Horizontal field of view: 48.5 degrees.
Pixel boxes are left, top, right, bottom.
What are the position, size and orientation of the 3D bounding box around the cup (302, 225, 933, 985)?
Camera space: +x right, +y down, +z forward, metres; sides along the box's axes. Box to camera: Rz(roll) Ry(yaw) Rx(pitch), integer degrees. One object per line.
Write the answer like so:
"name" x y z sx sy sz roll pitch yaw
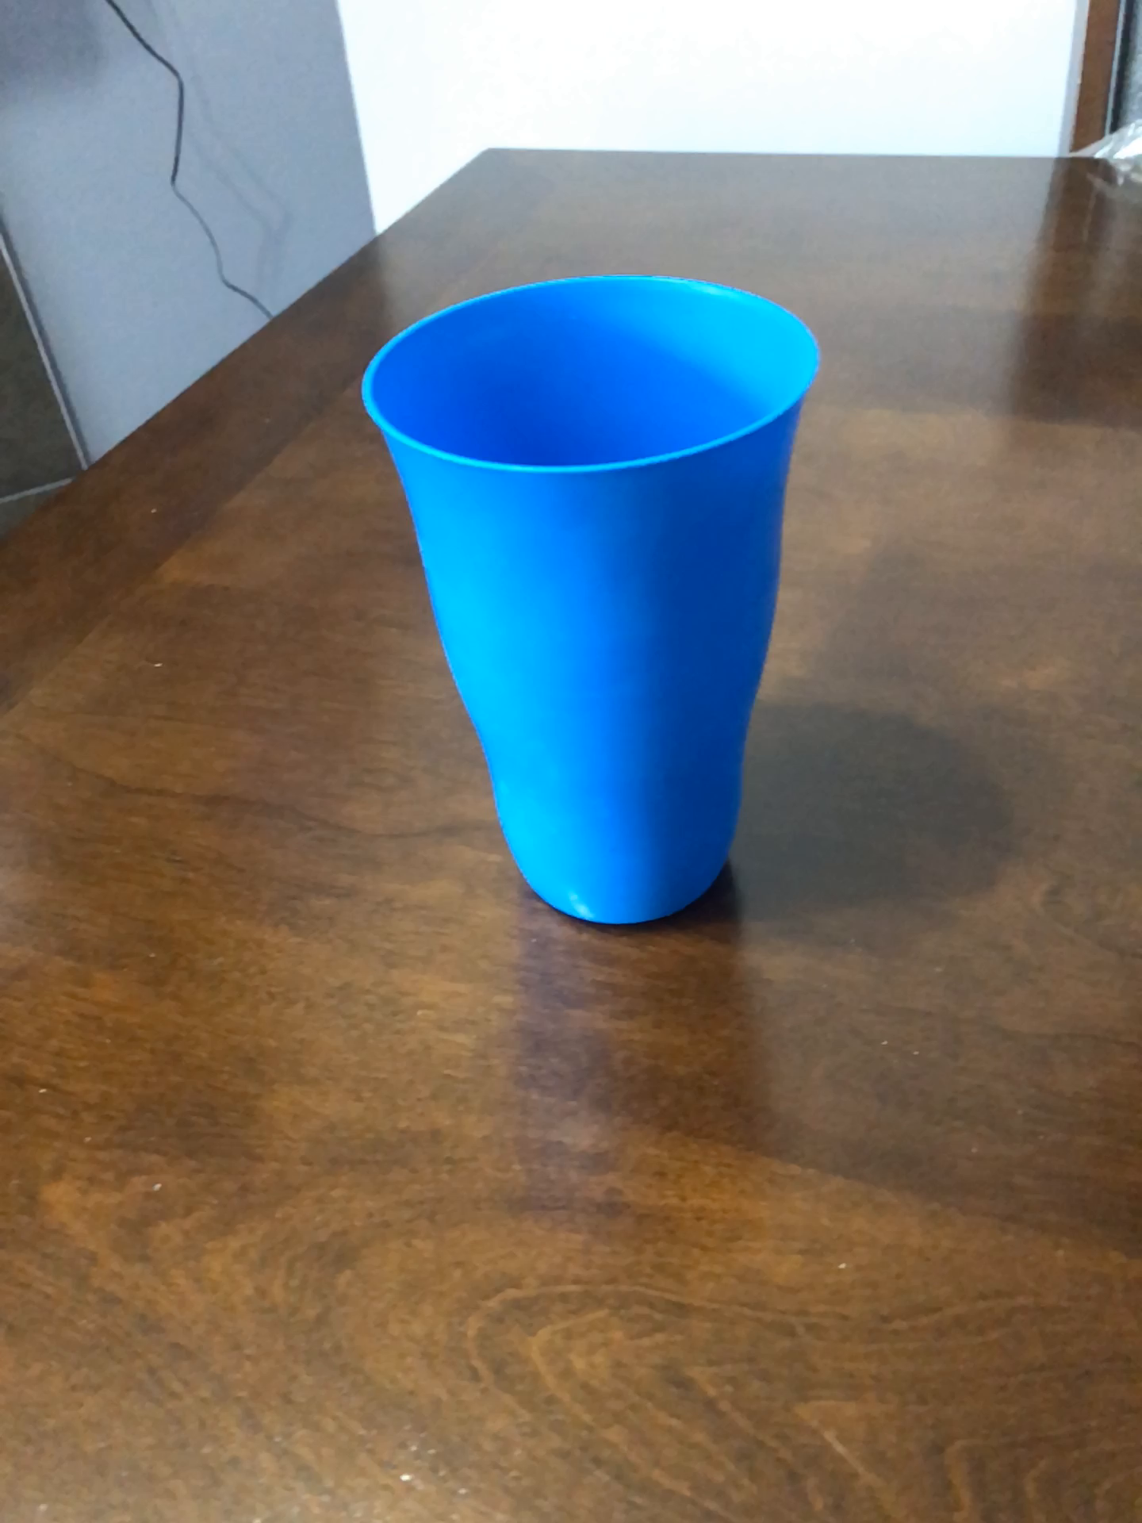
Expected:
"cup" 0.009 -0.040 0.309 0.100 0.129 0.100 -3 40 3
